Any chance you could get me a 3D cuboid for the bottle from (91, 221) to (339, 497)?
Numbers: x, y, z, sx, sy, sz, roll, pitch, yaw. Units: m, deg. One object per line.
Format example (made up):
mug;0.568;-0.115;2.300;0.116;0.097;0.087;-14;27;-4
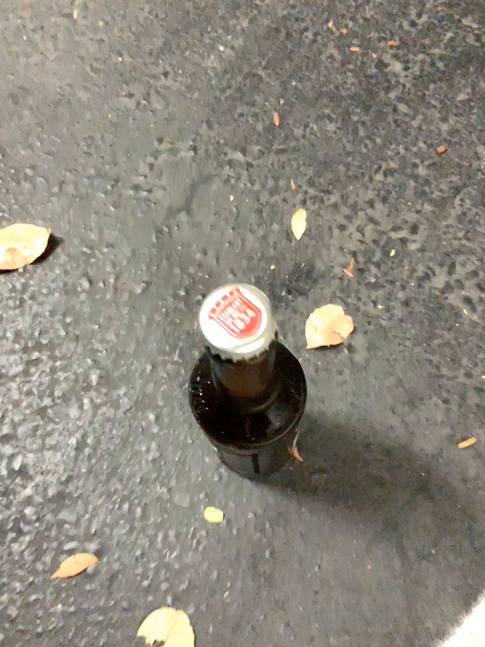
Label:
bottle;-0.004;0.040;0.276;0.070;0.210;0.070;-1;70;4
